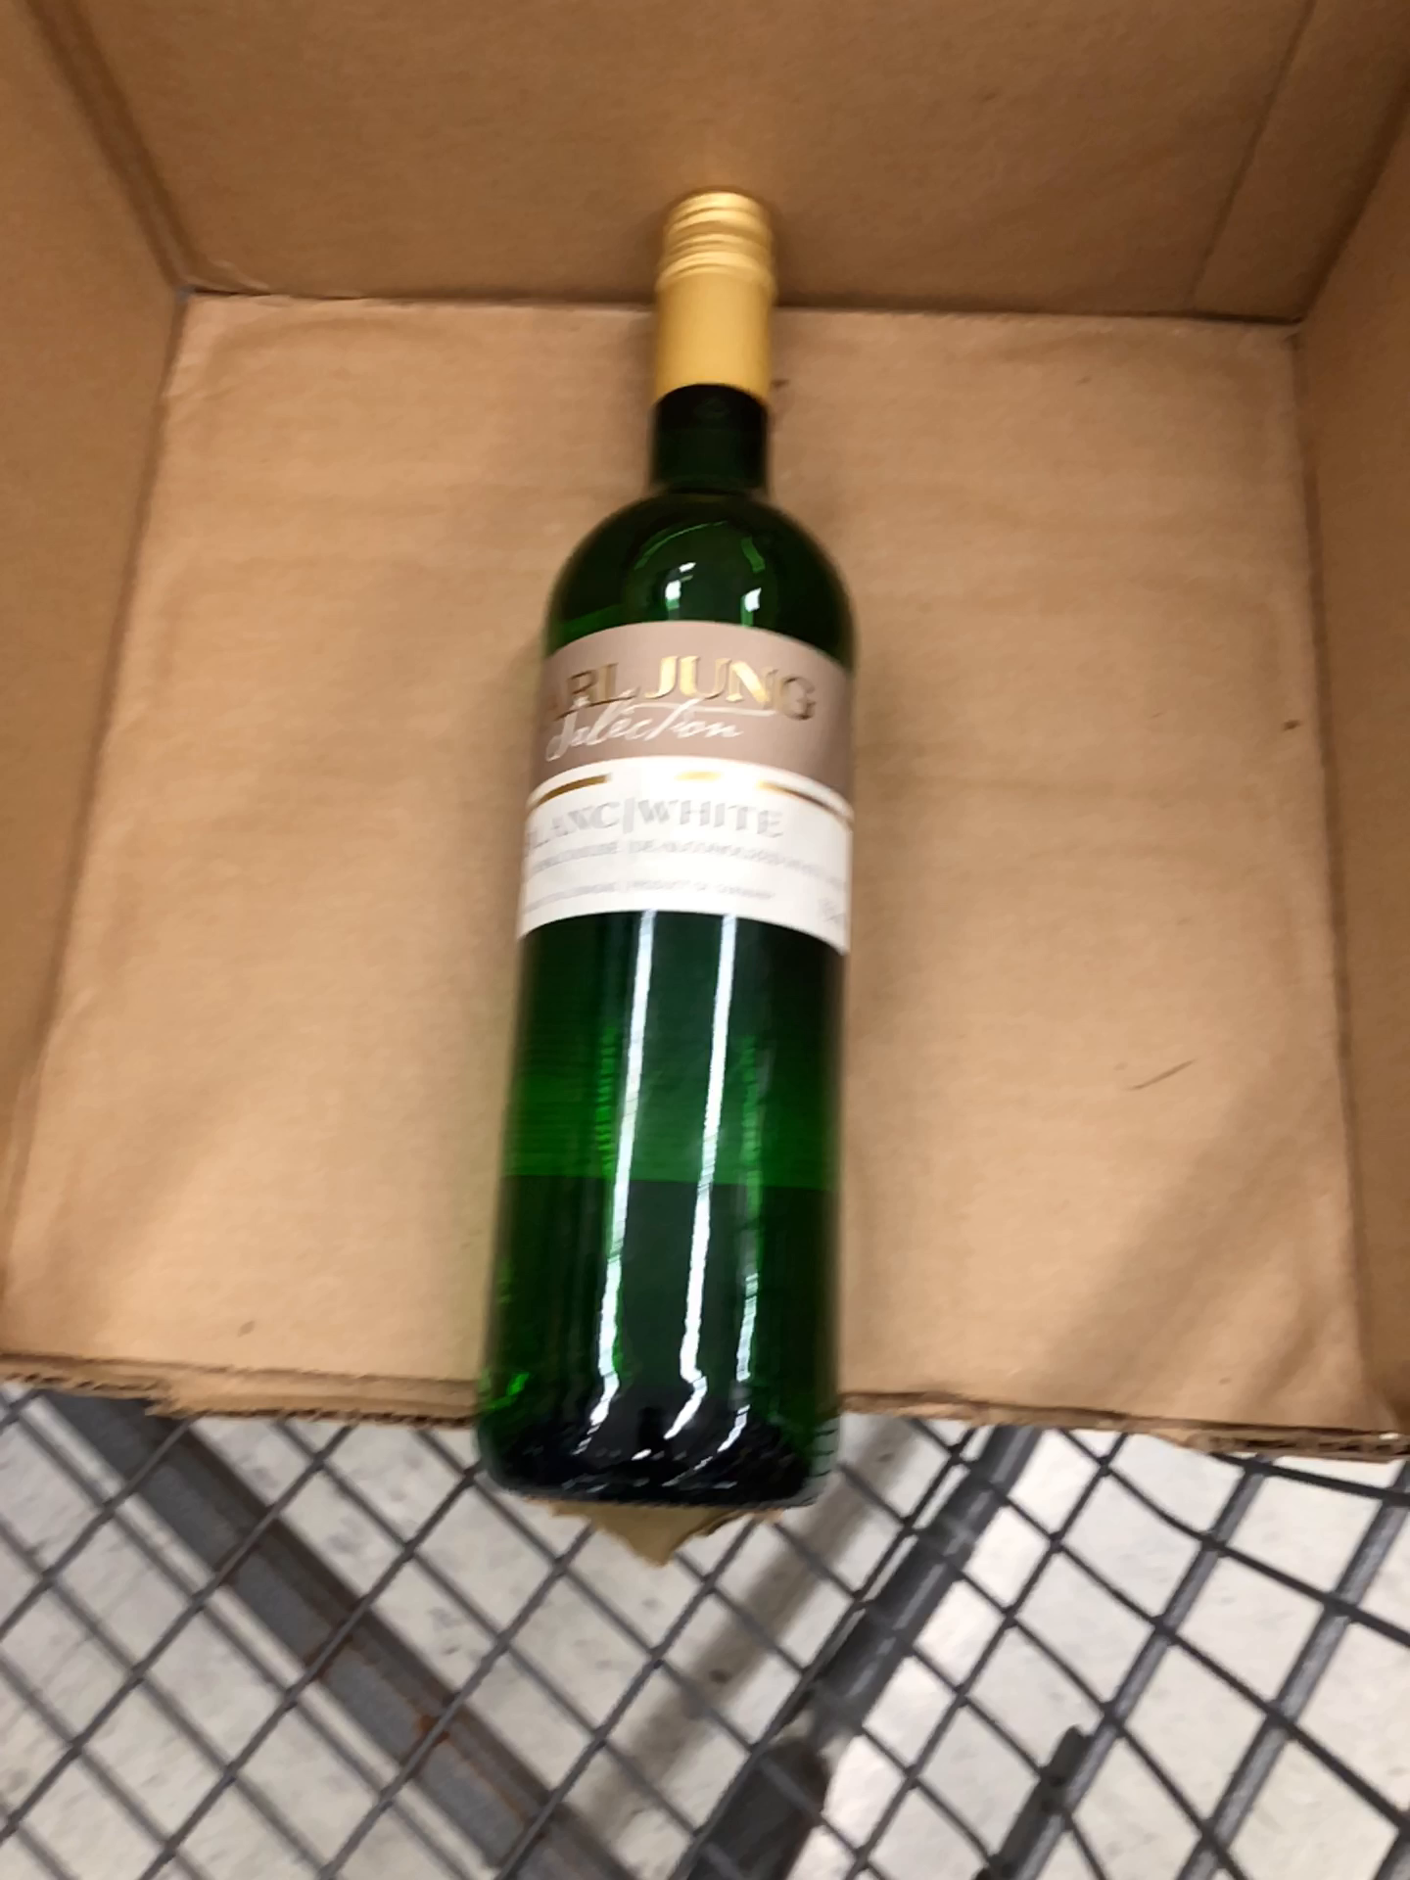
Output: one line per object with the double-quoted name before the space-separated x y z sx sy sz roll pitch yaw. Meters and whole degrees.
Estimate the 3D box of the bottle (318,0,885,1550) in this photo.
"bottle" -0.007 -0.052 0.339 0.080 0.100 0.331 -1 74 11
